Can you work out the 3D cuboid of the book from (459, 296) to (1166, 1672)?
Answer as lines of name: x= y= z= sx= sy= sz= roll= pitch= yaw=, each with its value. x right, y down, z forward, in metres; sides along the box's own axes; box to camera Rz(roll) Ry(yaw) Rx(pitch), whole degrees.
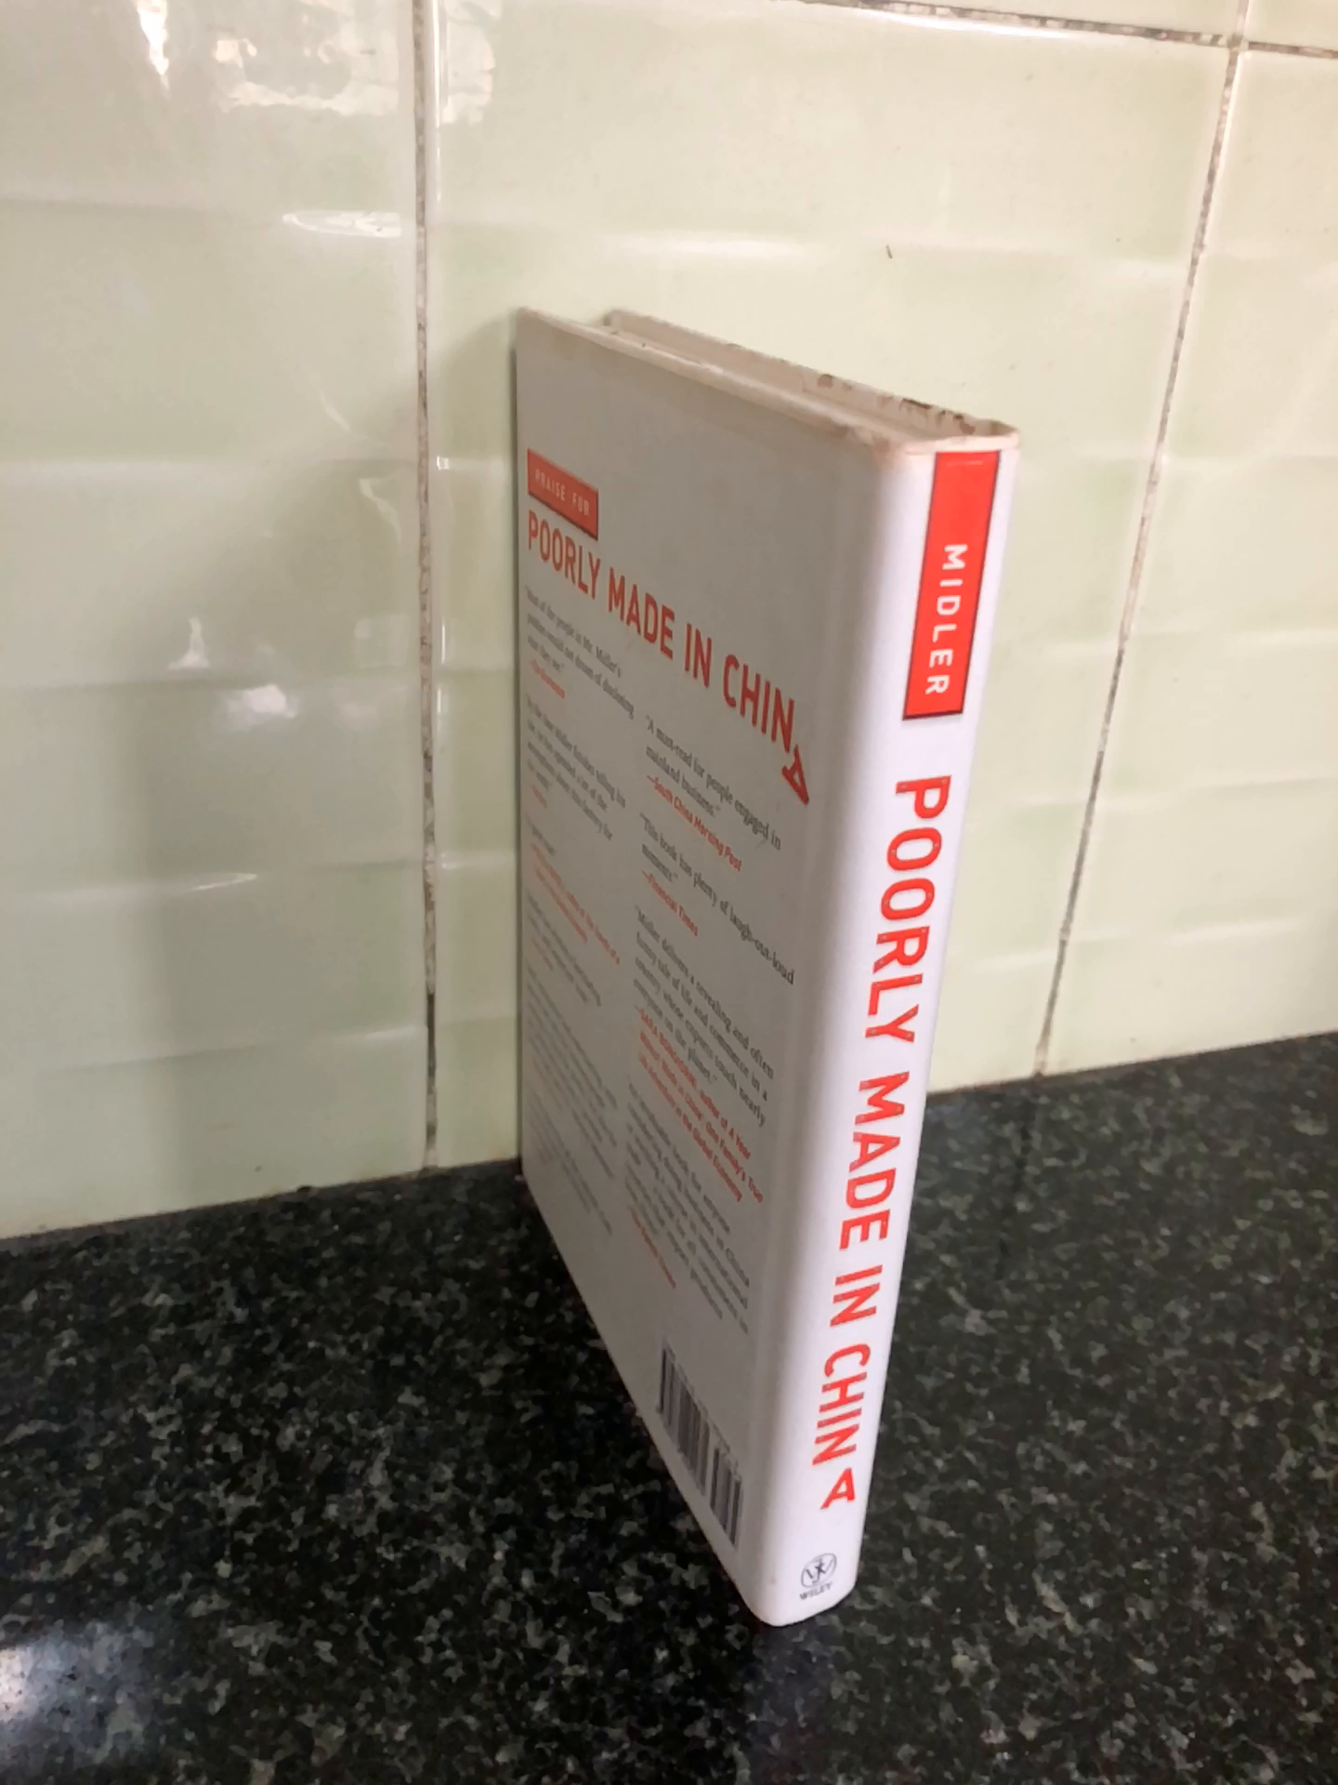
book: x=0.002 y=0.002 z=0.314 sx=0.040 sy=0.219 sz=0.191 roll=-7 pitch=28 yaw=-23
